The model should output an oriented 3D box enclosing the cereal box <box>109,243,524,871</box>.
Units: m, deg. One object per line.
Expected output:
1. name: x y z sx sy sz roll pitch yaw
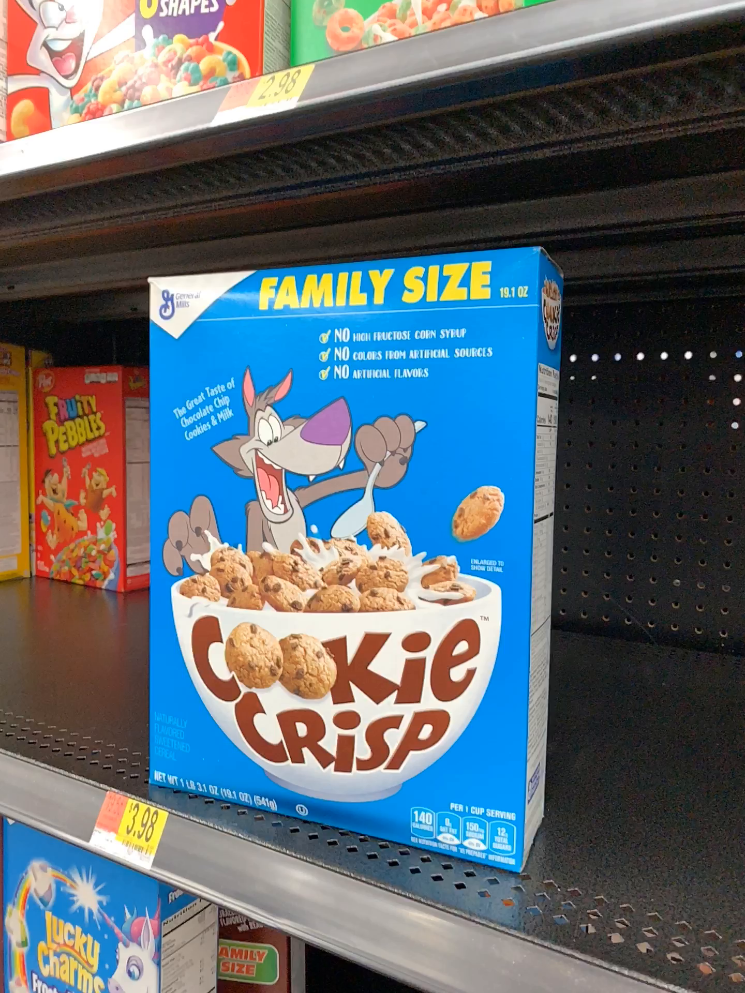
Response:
1. cereal box: -0.041 0.029 0.488 0.250 0.340 0.070 3 5 20
